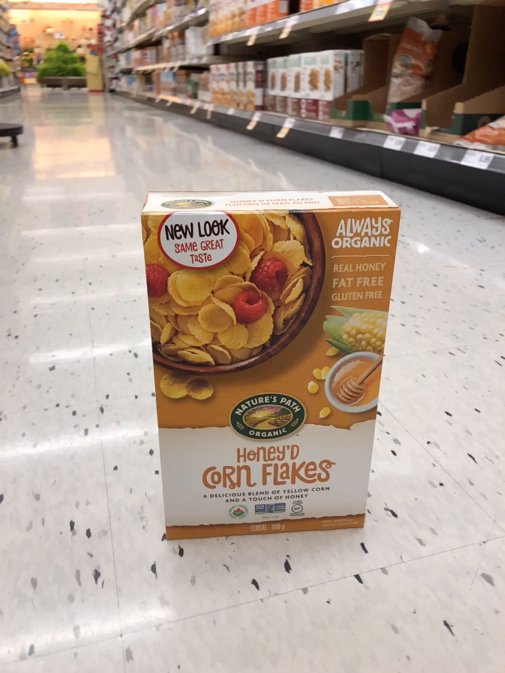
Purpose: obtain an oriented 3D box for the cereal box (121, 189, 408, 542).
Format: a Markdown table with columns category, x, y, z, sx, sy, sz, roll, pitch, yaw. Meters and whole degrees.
| category | x | y | z | sx | sy | sz | roll | pitch | yaw |
| --- | --- | --- | --- | --- | --- | --- | --- | --- | --- |
| cereal box | 0.005 | 0.026 | 0.387 | 0.160 | 0.239 | 0.060 | -2 | 25 | -4 |
